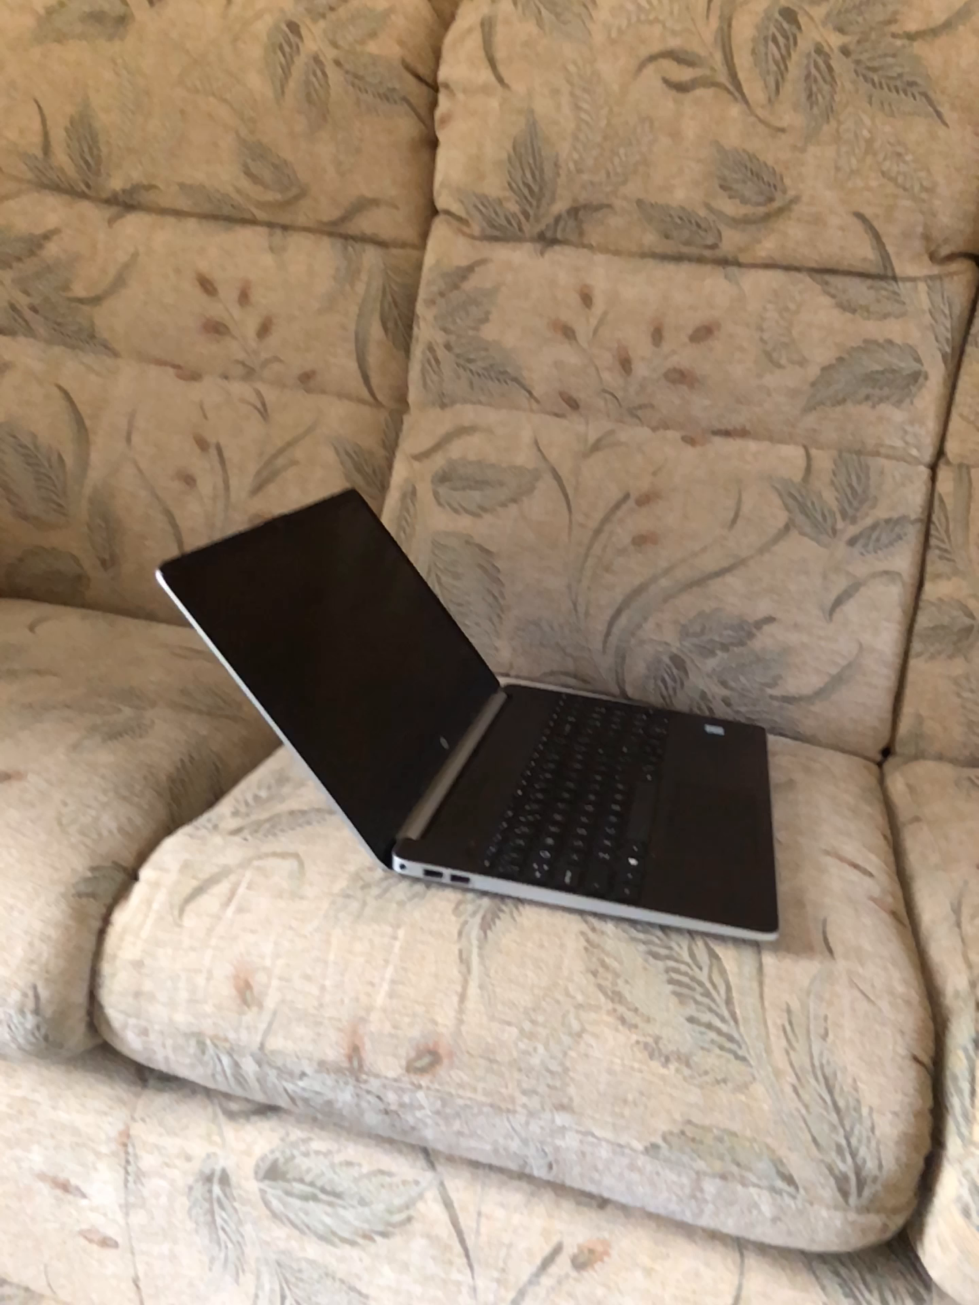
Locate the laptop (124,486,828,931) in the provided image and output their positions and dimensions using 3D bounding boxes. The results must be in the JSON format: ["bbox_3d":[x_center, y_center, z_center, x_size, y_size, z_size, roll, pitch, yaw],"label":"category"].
[{"bbox_3d":[0.018,0.009,0.784,0.397,0.163,0.340,9,20,10],"label":"laptop"}]
